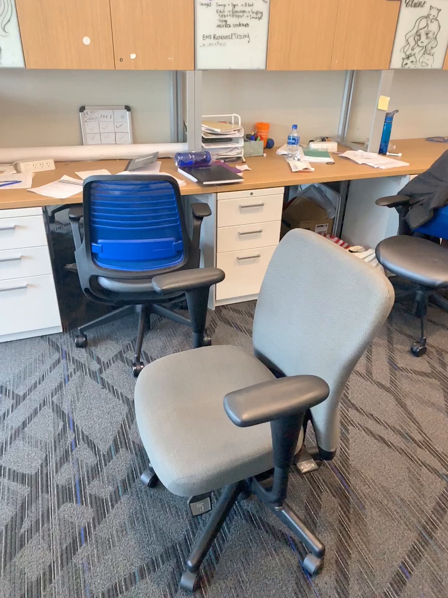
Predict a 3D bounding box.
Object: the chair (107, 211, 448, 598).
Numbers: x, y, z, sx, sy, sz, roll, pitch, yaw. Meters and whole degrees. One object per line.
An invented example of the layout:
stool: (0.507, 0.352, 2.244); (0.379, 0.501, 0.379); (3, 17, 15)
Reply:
chair: (0.066, 0.269, 1.346); (0.661, 0.813, 0.675); (-8, 31, -17)
